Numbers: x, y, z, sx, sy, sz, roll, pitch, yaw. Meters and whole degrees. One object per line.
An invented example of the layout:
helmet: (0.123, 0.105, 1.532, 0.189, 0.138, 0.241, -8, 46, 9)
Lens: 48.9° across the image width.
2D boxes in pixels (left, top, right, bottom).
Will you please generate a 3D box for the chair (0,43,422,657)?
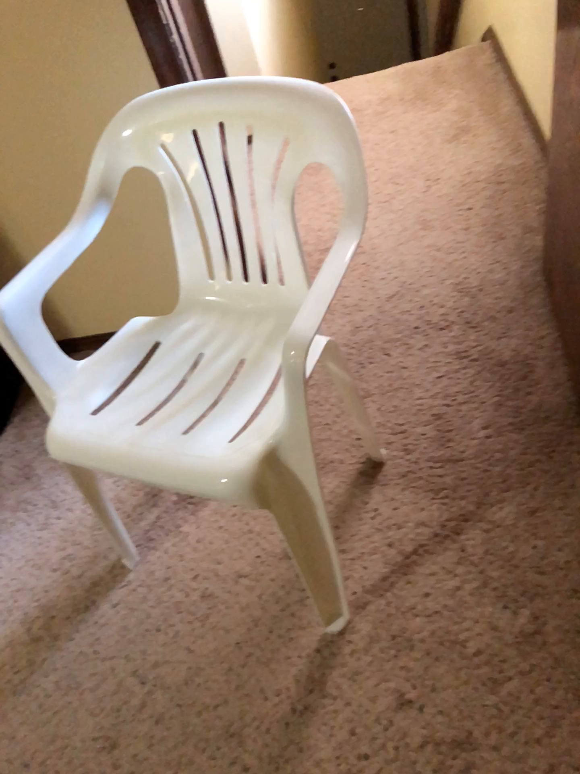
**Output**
chair: (-0.171, -0.023, 1.034, 0.581, 0.769, 0.470, 9, 52, 26)
